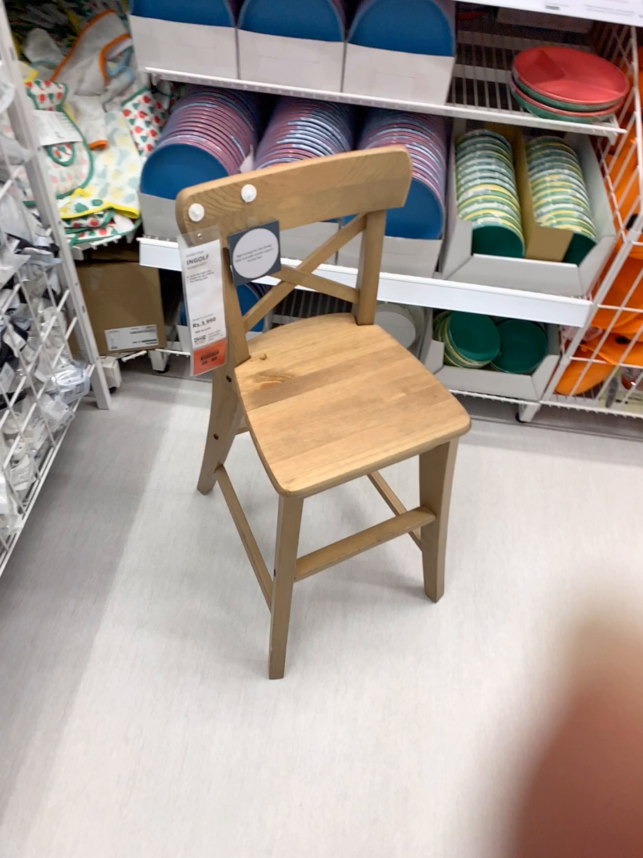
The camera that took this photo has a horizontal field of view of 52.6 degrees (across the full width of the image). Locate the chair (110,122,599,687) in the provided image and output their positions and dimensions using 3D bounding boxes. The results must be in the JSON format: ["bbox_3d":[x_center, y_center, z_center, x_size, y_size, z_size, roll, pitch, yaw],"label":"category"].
[{"bbox_3d":[-0.004,0.000,1.025,0.380,0.688,0.461,-23,58,-21],"label":"chair"}]
